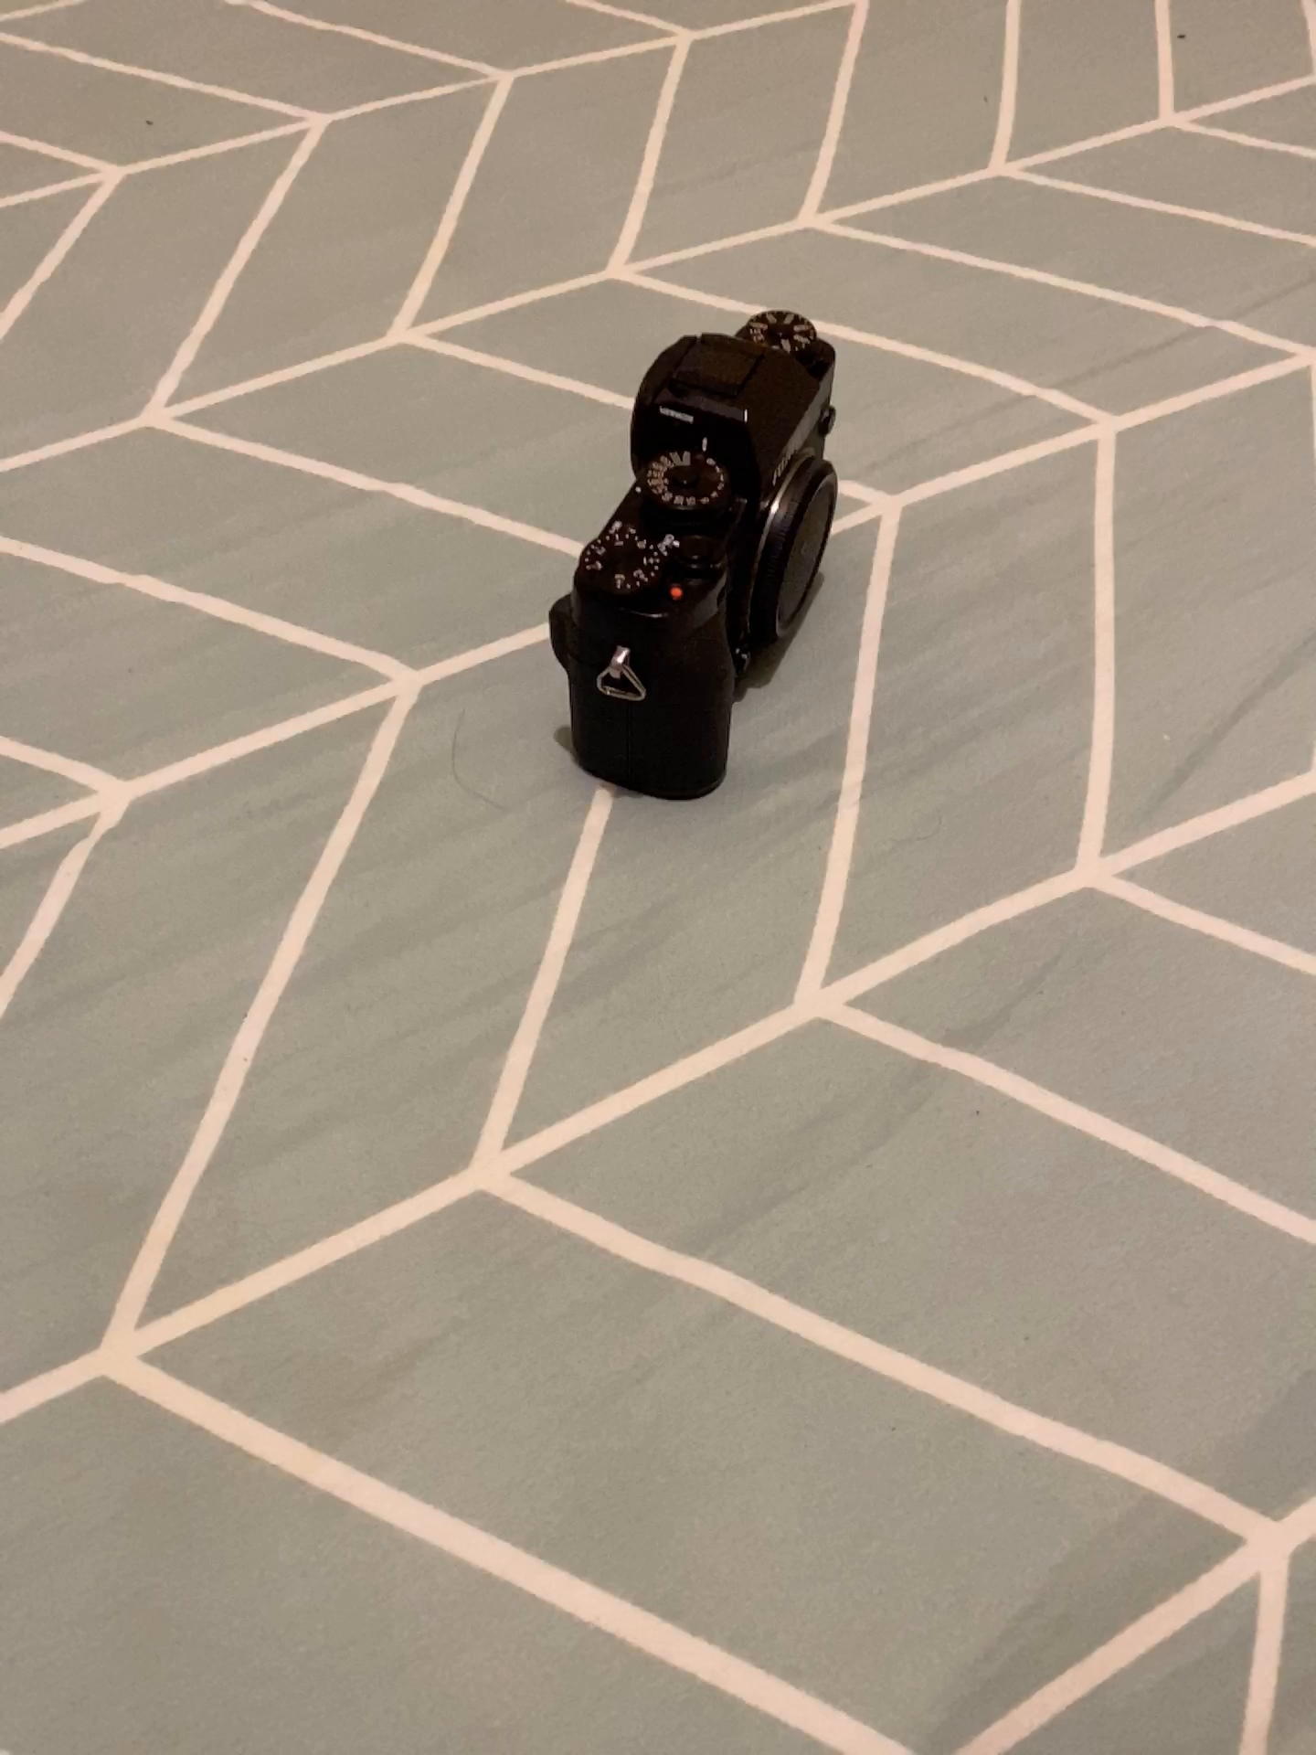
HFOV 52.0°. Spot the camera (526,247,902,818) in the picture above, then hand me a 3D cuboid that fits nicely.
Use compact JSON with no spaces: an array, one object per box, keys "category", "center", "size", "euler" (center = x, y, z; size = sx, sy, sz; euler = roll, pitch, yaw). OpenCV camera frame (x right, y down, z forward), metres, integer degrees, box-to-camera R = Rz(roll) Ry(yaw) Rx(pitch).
[{"category":"camera","center":[0.018,-0.099,0.385],"size":[0.051,0.087,0.130],"euler":[21,58,12]}]
